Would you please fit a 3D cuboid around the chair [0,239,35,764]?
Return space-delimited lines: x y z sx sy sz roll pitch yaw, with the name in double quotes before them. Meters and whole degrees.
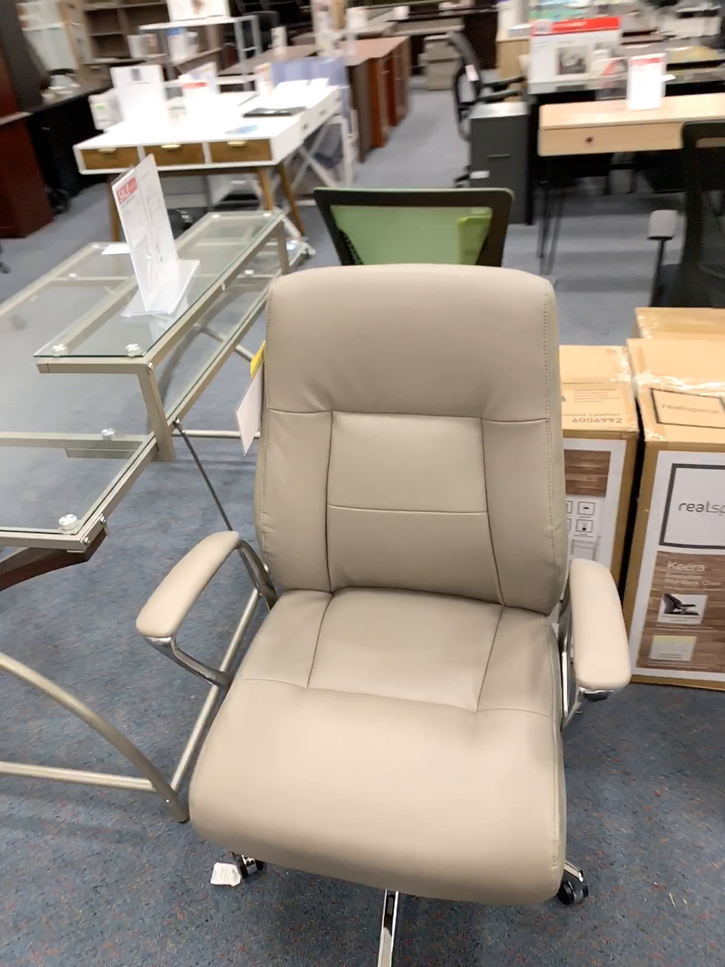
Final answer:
"chair" -1.403 -0.017 1.865 0.754 0.857 0.765 -20 37 -20

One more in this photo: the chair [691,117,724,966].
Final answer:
"chair" 1.126 0.218 0.953 0.811 1.056 0.818 -14 35 -12

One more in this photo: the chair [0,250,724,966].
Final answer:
"chair" 0.081 0.238 1.113 0.692 0.956 0.677 4 35 14
